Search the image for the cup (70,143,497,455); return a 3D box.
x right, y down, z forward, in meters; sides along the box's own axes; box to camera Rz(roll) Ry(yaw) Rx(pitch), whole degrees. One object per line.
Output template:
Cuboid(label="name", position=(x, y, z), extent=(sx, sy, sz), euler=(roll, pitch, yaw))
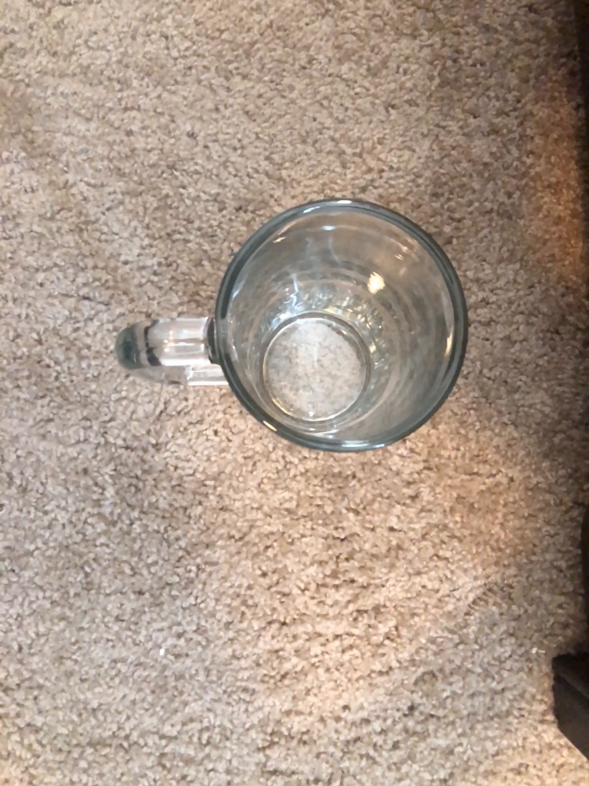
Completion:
Cuboid(label="cup", position=(-0.008, -0.028, 0.288), extent=(0.133, 0.156, 0.096), euler=(-3, 88, -4))
